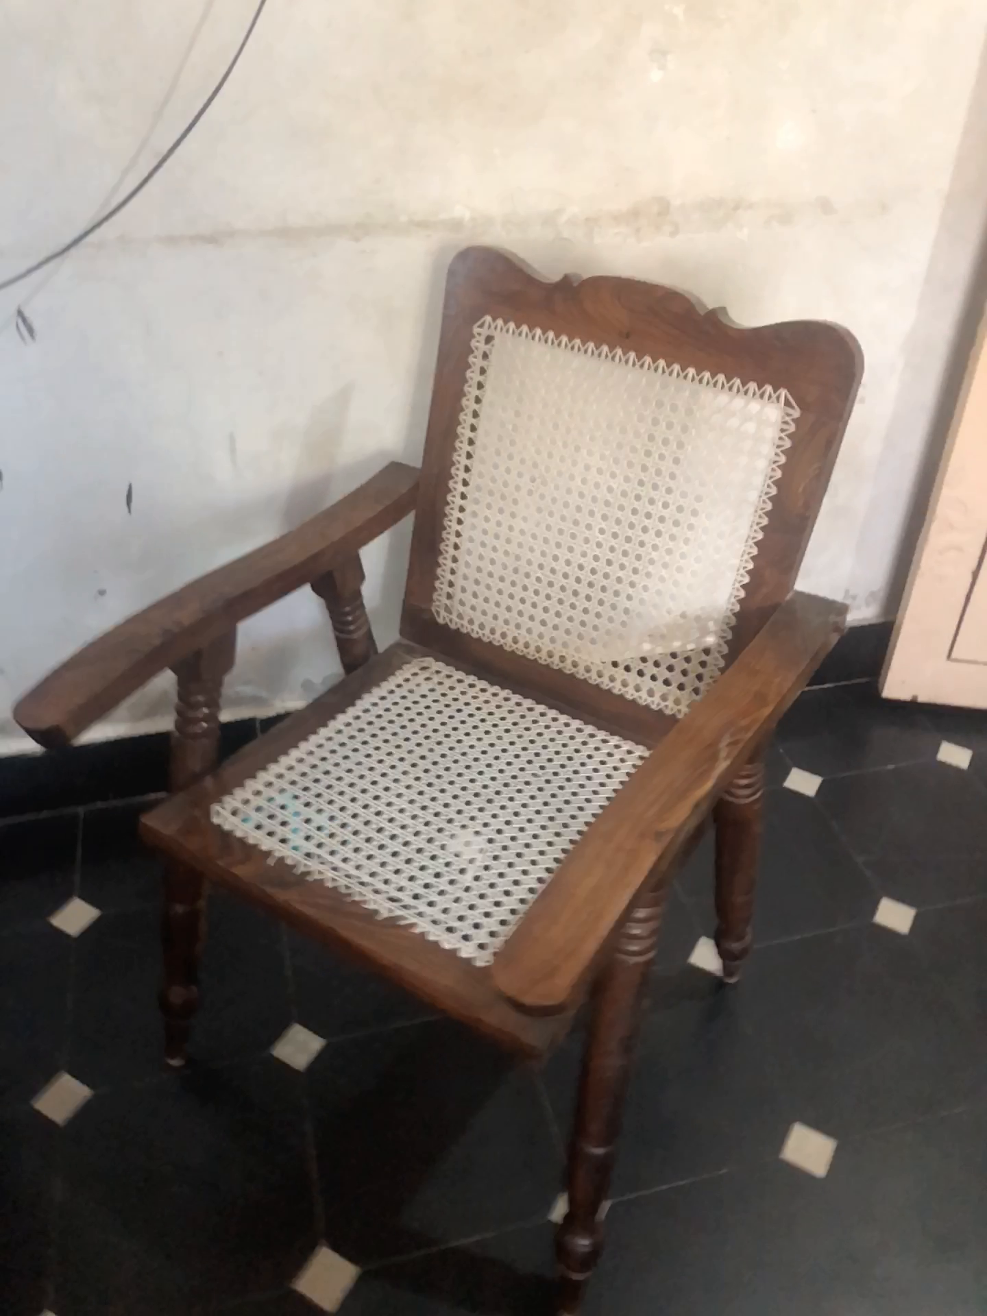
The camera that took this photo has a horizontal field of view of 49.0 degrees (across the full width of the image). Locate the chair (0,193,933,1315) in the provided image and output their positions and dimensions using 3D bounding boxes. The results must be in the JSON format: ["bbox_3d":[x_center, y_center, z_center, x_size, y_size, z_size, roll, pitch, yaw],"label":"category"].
[{"bbox_3d":[-0.031,0.073,1.061,0.580,0.796,0.563,20,42,23],"label":"chair"}]
